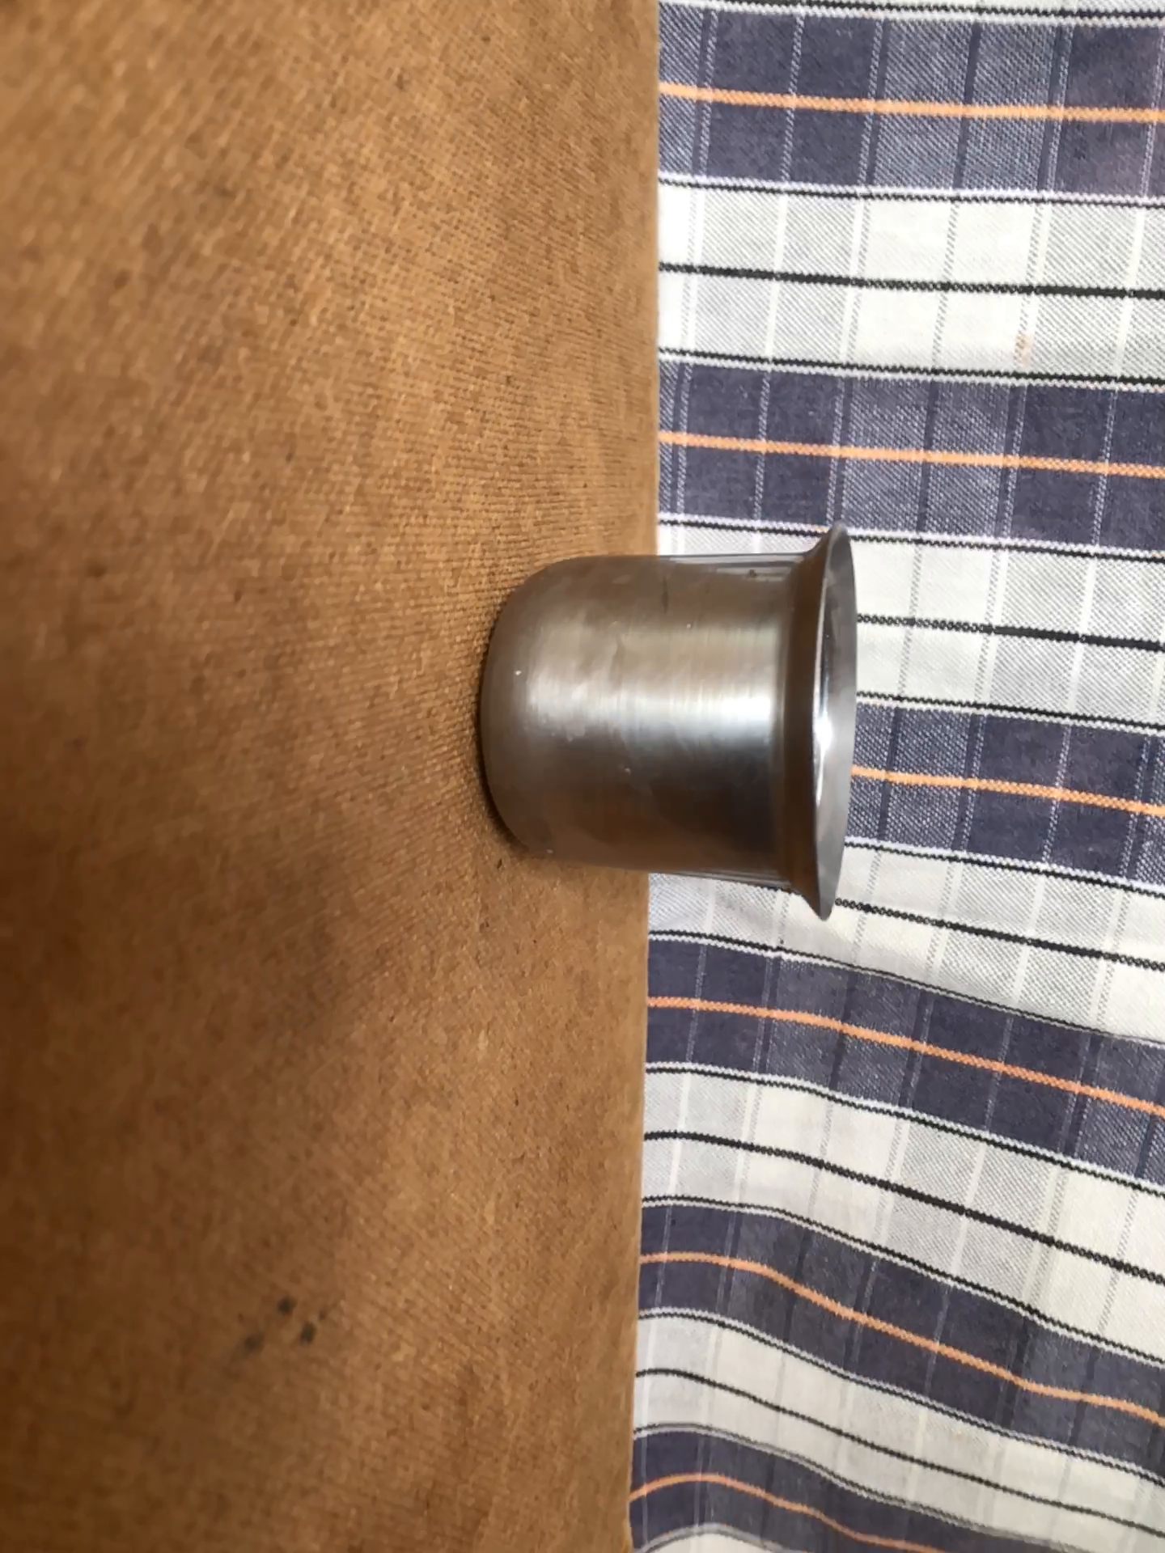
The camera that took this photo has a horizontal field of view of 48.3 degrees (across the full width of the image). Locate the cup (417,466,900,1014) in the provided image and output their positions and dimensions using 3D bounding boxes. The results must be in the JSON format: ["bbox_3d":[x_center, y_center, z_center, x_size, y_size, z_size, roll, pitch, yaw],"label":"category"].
[{"bbox_3d":[0.019,-0.003,0.219,0.070,0.060,0.070,3,90,-74],"label":"cup"}]
